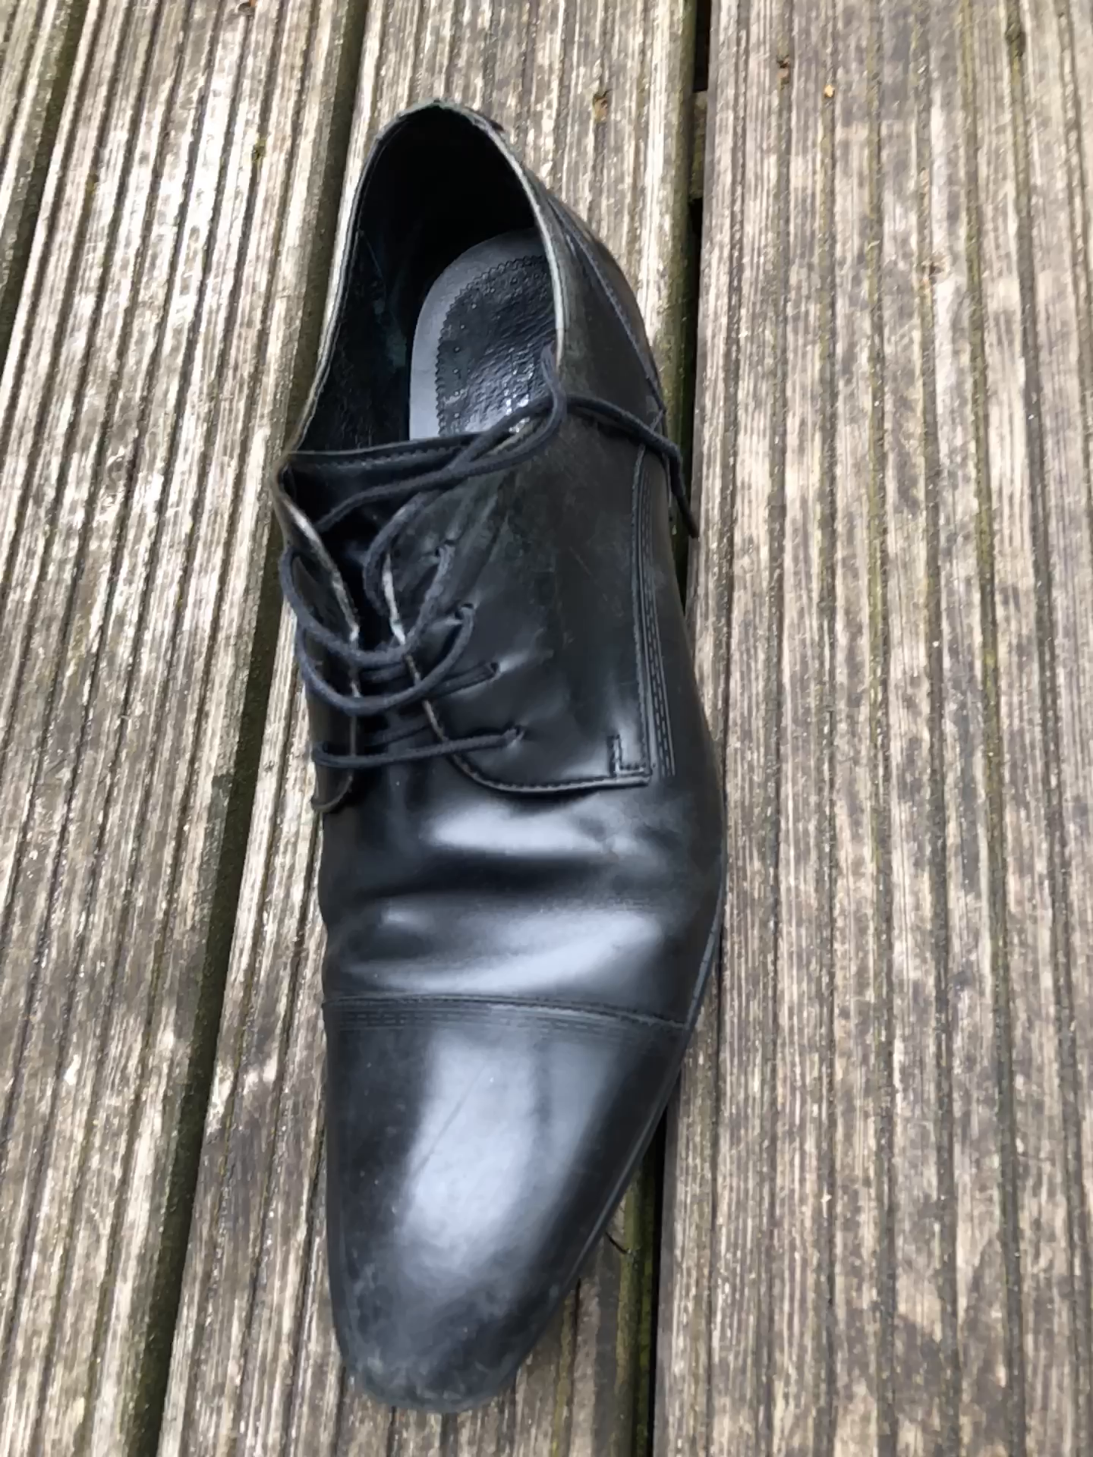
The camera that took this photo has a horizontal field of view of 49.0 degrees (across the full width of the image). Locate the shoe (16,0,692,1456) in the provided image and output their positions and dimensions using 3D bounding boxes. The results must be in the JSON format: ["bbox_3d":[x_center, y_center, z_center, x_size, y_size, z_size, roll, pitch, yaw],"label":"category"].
[{"bbox_3d":[-0.021,-0.008,0.318,0.090,0.150,0.341,-3,72,17],"label":"shoe"}]
